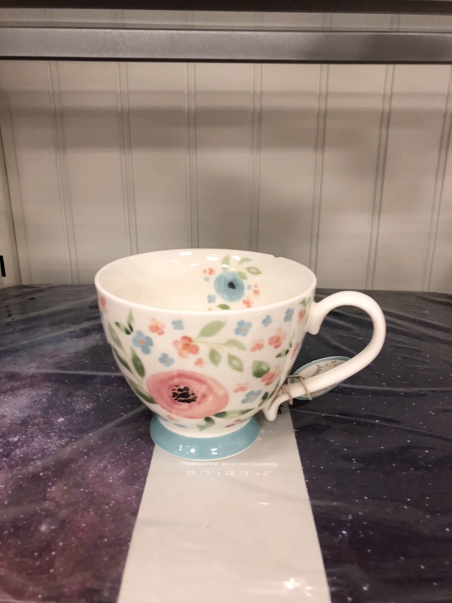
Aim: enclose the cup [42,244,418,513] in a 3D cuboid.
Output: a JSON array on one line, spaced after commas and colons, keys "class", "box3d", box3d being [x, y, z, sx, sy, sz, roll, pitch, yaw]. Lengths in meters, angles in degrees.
[{"class": "cup", "box3d": [0.007, 0.025, 0.259, 0.150, 0.080, 0.111, 4, 20, 12]}]
